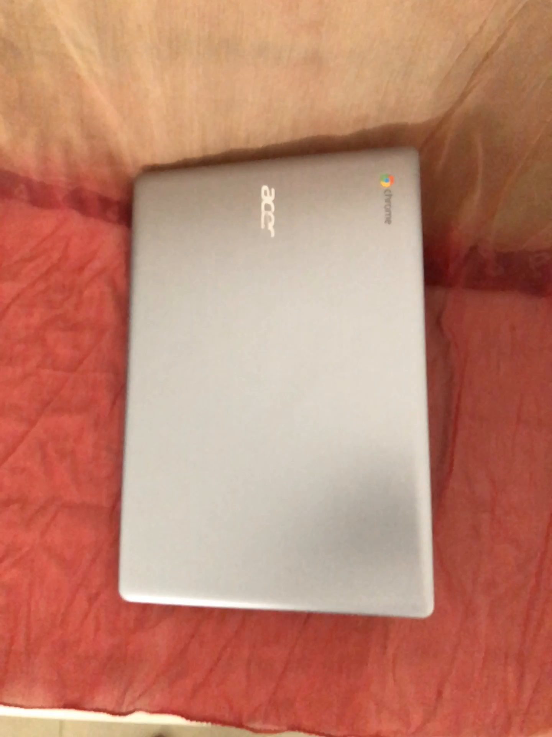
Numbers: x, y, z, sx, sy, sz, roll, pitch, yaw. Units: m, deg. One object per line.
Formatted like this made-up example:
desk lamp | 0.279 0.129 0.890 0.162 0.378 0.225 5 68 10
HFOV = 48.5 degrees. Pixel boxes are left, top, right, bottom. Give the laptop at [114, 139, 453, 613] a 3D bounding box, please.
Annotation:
laptop | 0.004 0.003 0.448 0.219 0.066 0.321 0 82 -1
